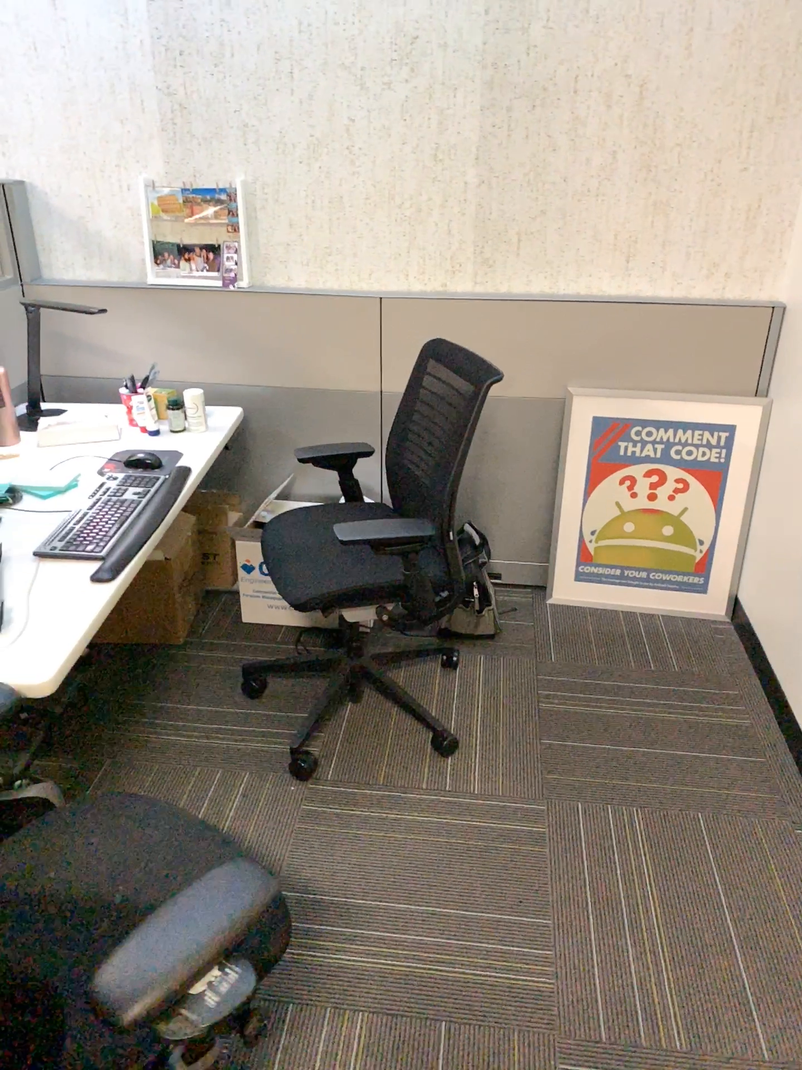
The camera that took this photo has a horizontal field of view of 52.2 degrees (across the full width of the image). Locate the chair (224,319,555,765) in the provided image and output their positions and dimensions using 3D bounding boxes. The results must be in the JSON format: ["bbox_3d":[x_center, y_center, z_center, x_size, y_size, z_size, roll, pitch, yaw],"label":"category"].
[{"bbox_3d":[-0.066,-0.029,2.281,0.650,0.955,0.674,-9,28,-18],"label":"chair"}]
